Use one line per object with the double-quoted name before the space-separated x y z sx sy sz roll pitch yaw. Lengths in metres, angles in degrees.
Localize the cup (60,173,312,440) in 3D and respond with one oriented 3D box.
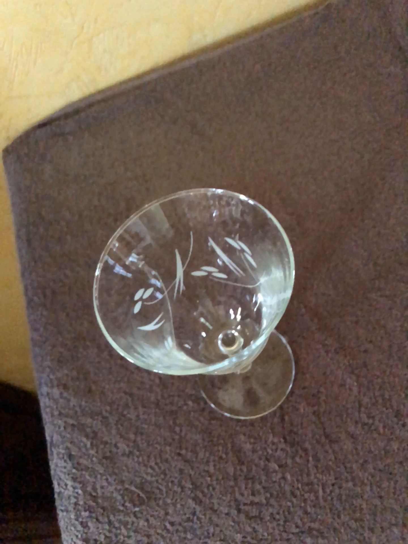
"cup" 0.010 0.032 0.250 0.090 0.150 0.090 -6 63 12
